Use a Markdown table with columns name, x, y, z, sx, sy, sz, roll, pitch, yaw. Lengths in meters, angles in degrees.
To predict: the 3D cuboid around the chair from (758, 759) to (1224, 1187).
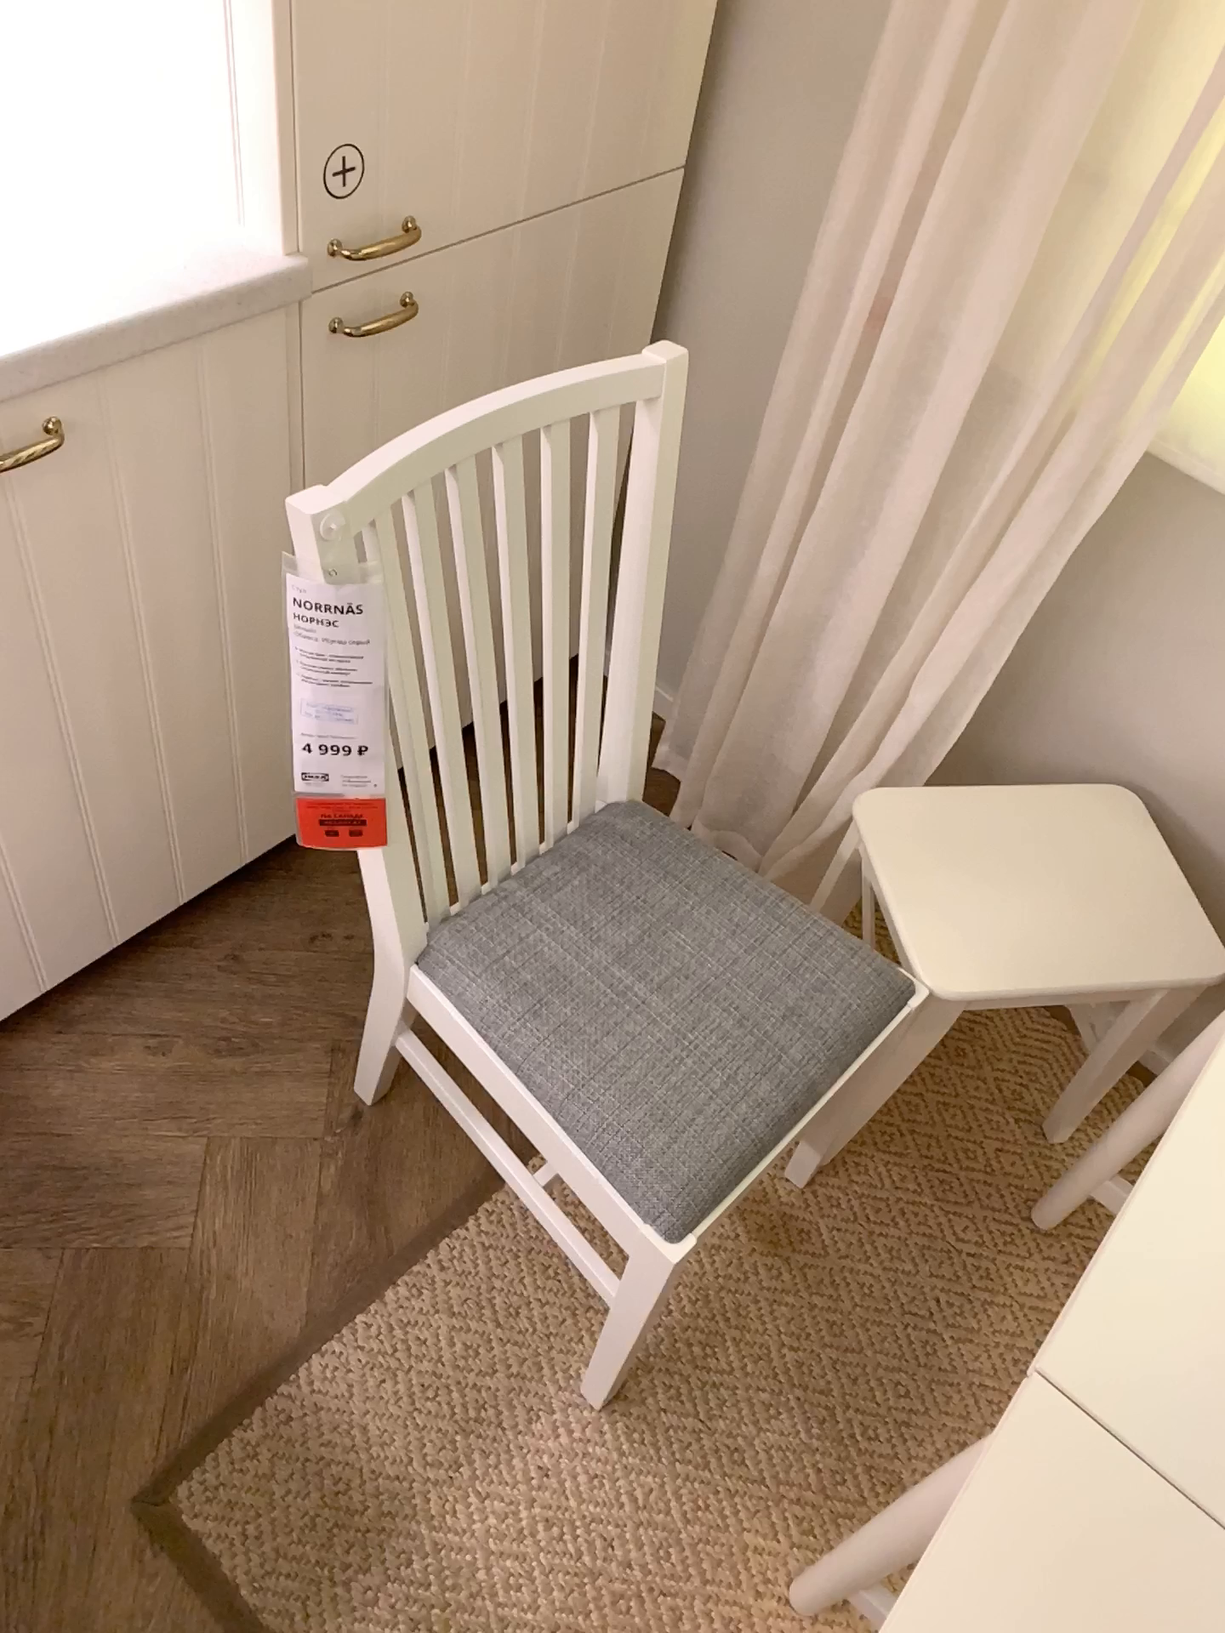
| name | x | y | z | sx | sy | sz | roll | pitch | yaw |
| --- | --- | --- | --- | --- | --- | --- | --- | --- | --- |
| chair | 0.506 | 0.204 | 1.668 | 0.460 | 0.388 | 0.402 | -1 | 50 | -13 |

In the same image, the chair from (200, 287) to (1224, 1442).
| name | x | y | z | sx | sy | sz | roll | pitch | yaw |
| --- | --- | --- | --- | --- | --- | --- | --- | --- | --- |
| chair | 0.026 | 0.088 | 1.320 | 0.620 | 0.915 | 0.552 | 40 | 53 | 20 |
